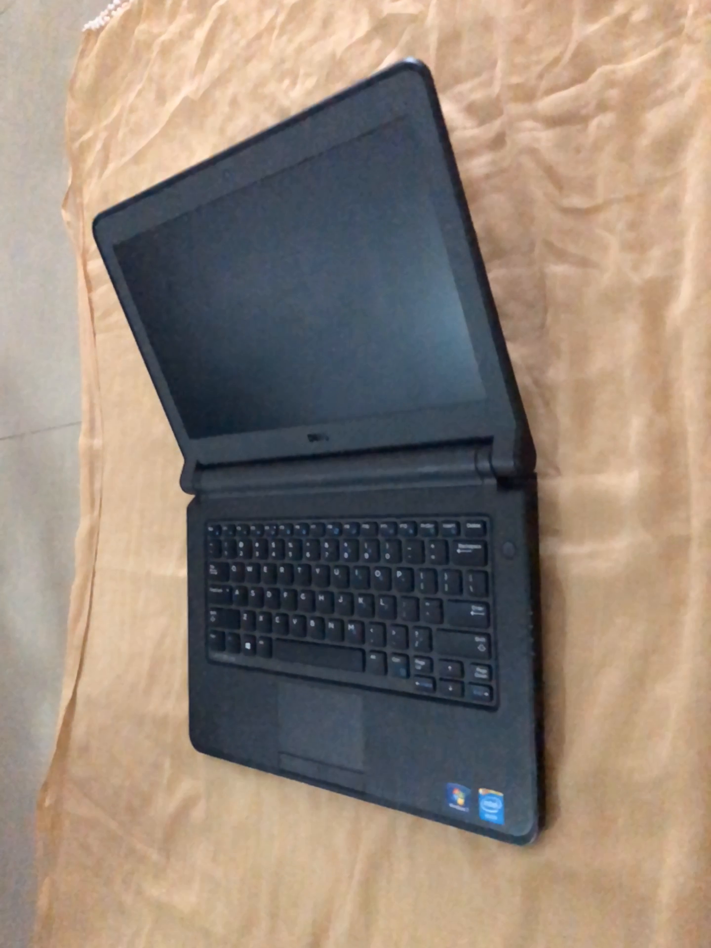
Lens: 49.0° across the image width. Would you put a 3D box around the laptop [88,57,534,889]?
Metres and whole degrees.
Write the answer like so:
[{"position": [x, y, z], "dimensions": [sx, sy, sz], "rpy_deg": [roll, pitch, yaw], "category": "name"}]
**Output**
[{"position": [-0.052, 0.005, 0.518], "dimensions": [0.310, 0.092, 0.409], "rpy_deg": [-4, 86, 41], "category": "laptop"}]
